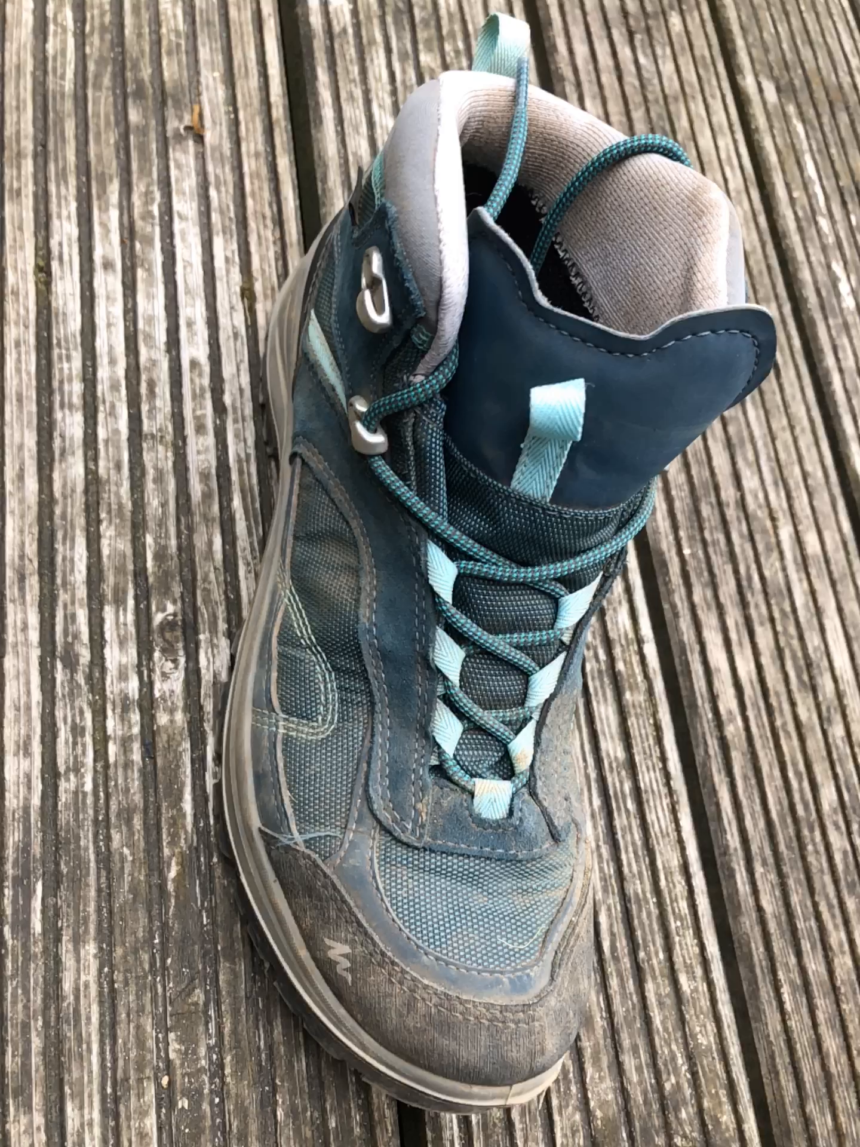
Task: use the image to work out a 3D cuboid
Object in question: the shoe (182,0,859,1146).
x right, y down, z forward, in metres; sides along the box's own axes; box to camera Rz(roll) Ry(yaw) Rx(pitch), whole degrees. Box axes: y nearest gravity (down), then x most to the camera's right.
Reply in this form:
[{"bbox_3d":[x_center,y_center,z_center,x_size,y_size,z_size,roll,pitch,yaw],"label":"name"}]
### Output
[{"bbox_3d":[0.008,-0.003,0.256,0.120,0.120,0.280,2,71,-24],"label":"shoe"}]
